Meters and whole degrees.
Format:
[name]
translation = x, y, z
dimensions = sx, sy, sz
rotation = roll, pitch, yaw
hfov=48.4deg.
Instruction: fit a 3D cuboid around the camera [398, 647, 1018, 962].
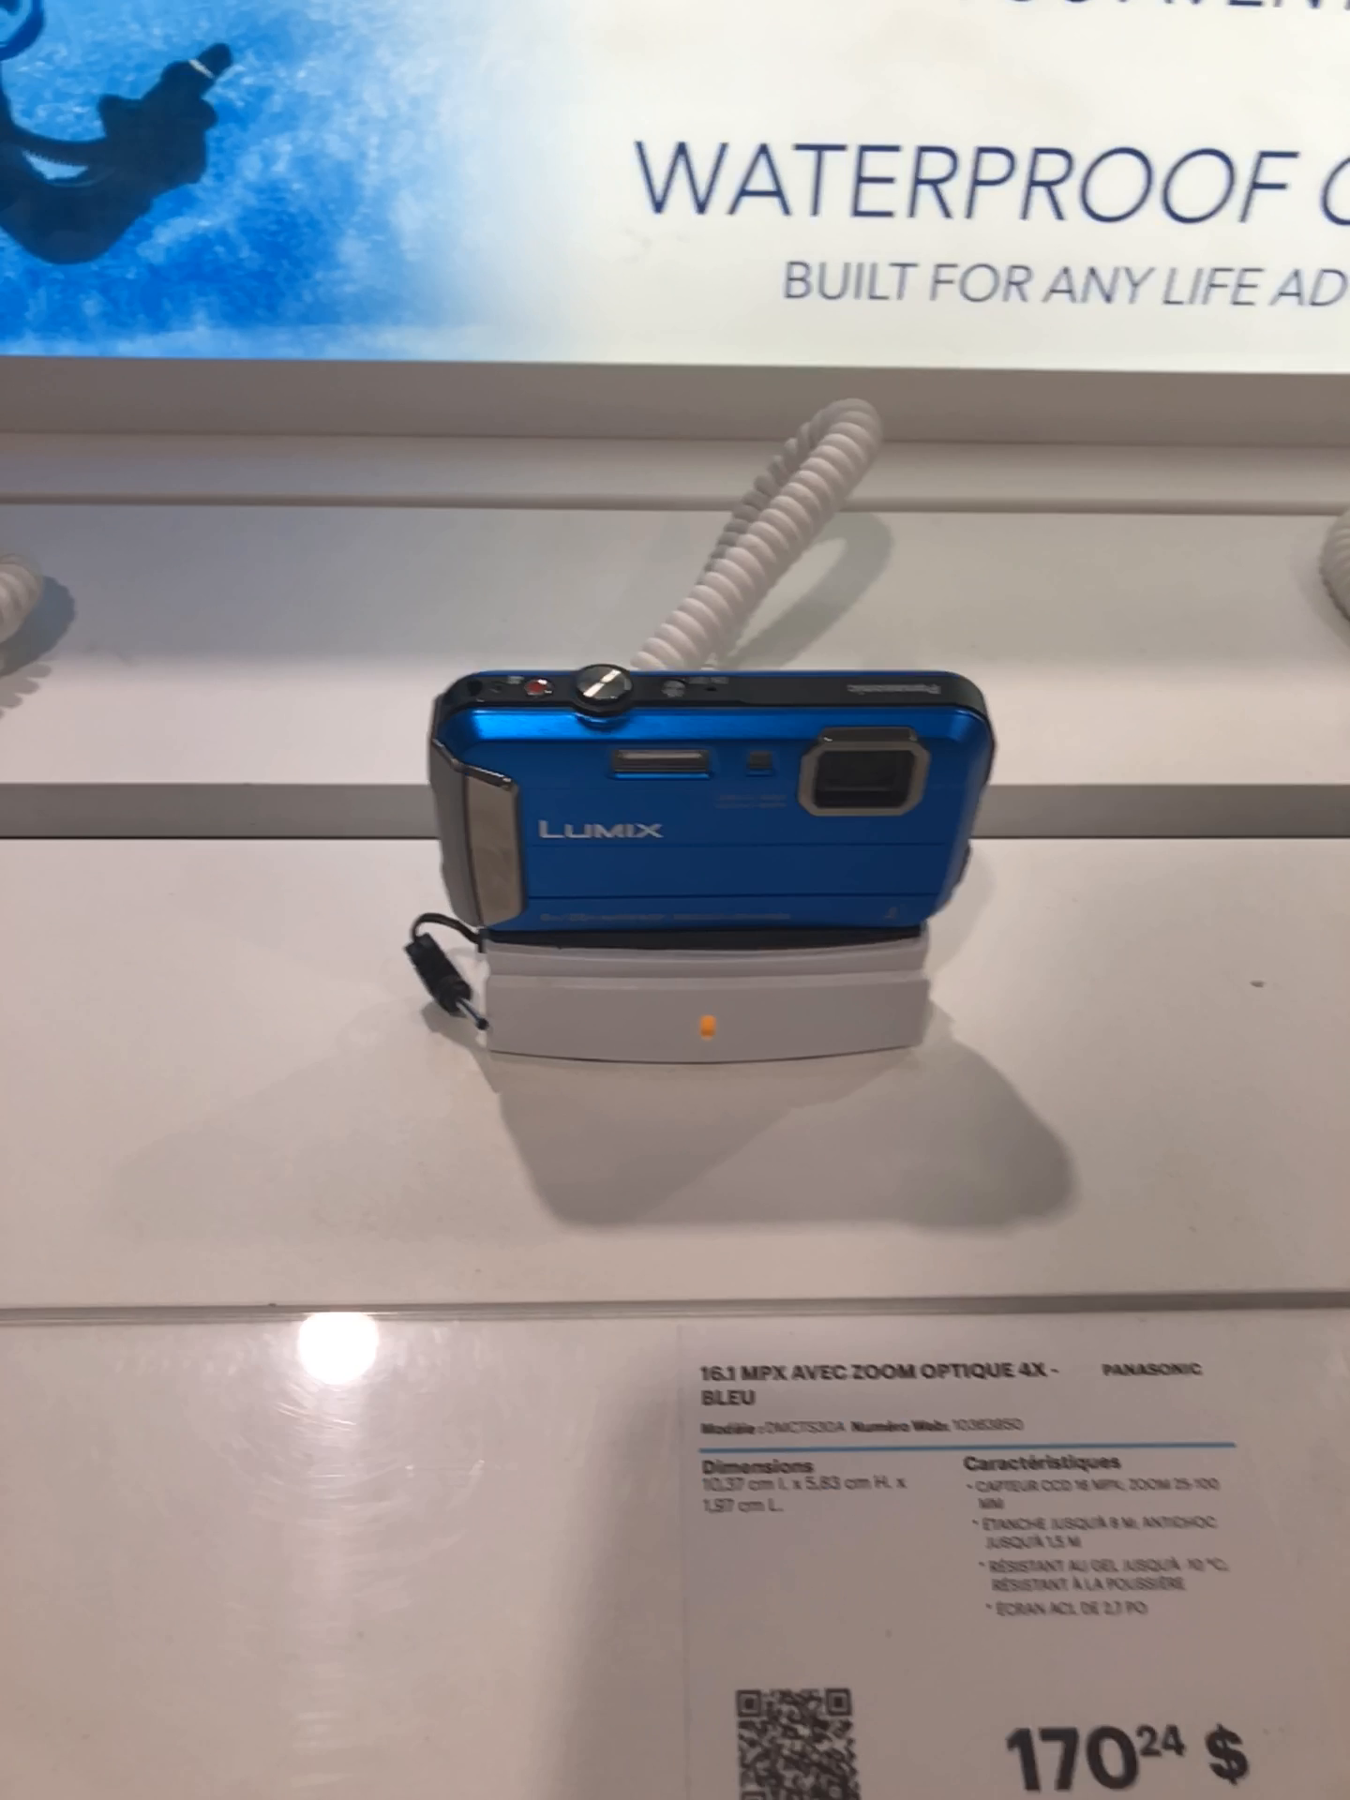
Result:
[camera]
translation = 0.005, -0.017, 0.284
dimensions = 0.106, 0.060, 0.020
rotation = -1, 45, -3
